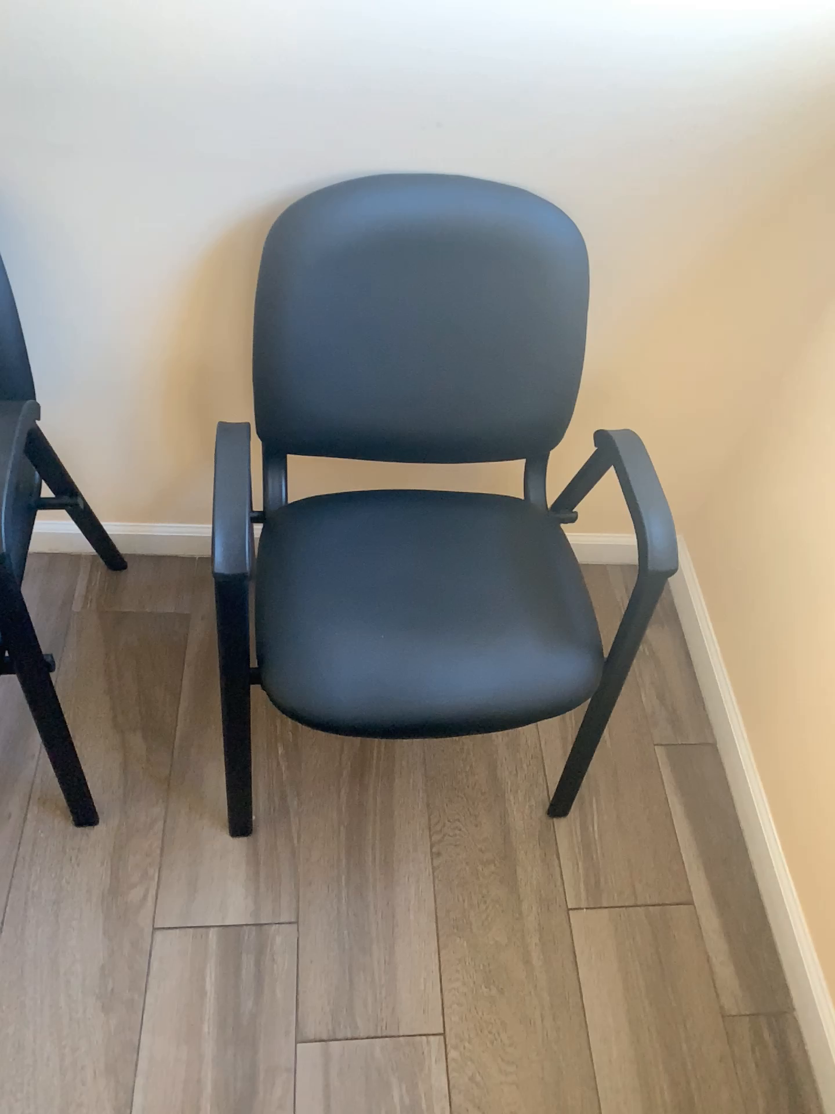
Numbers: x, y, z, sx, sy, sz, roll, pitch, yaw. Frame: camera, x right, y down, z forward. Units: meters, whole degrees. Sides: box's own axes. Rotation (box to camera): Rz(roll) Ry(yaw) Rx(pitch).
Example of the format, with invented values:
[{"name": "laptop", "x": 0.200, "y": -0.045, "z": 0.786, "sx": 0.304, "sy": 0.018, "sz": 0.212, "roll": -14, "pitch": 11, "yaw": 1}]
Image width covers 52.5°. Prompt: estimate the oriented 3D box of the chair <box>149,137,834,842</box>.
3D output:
[{"name": "chair", "x": 0.004, "y": -0.031, "z": 1.263, "sx": 0.635, "sy": 0.848, "sz": 0.591, "roll": 0, "pitch": 53, "yaw": -10}]
